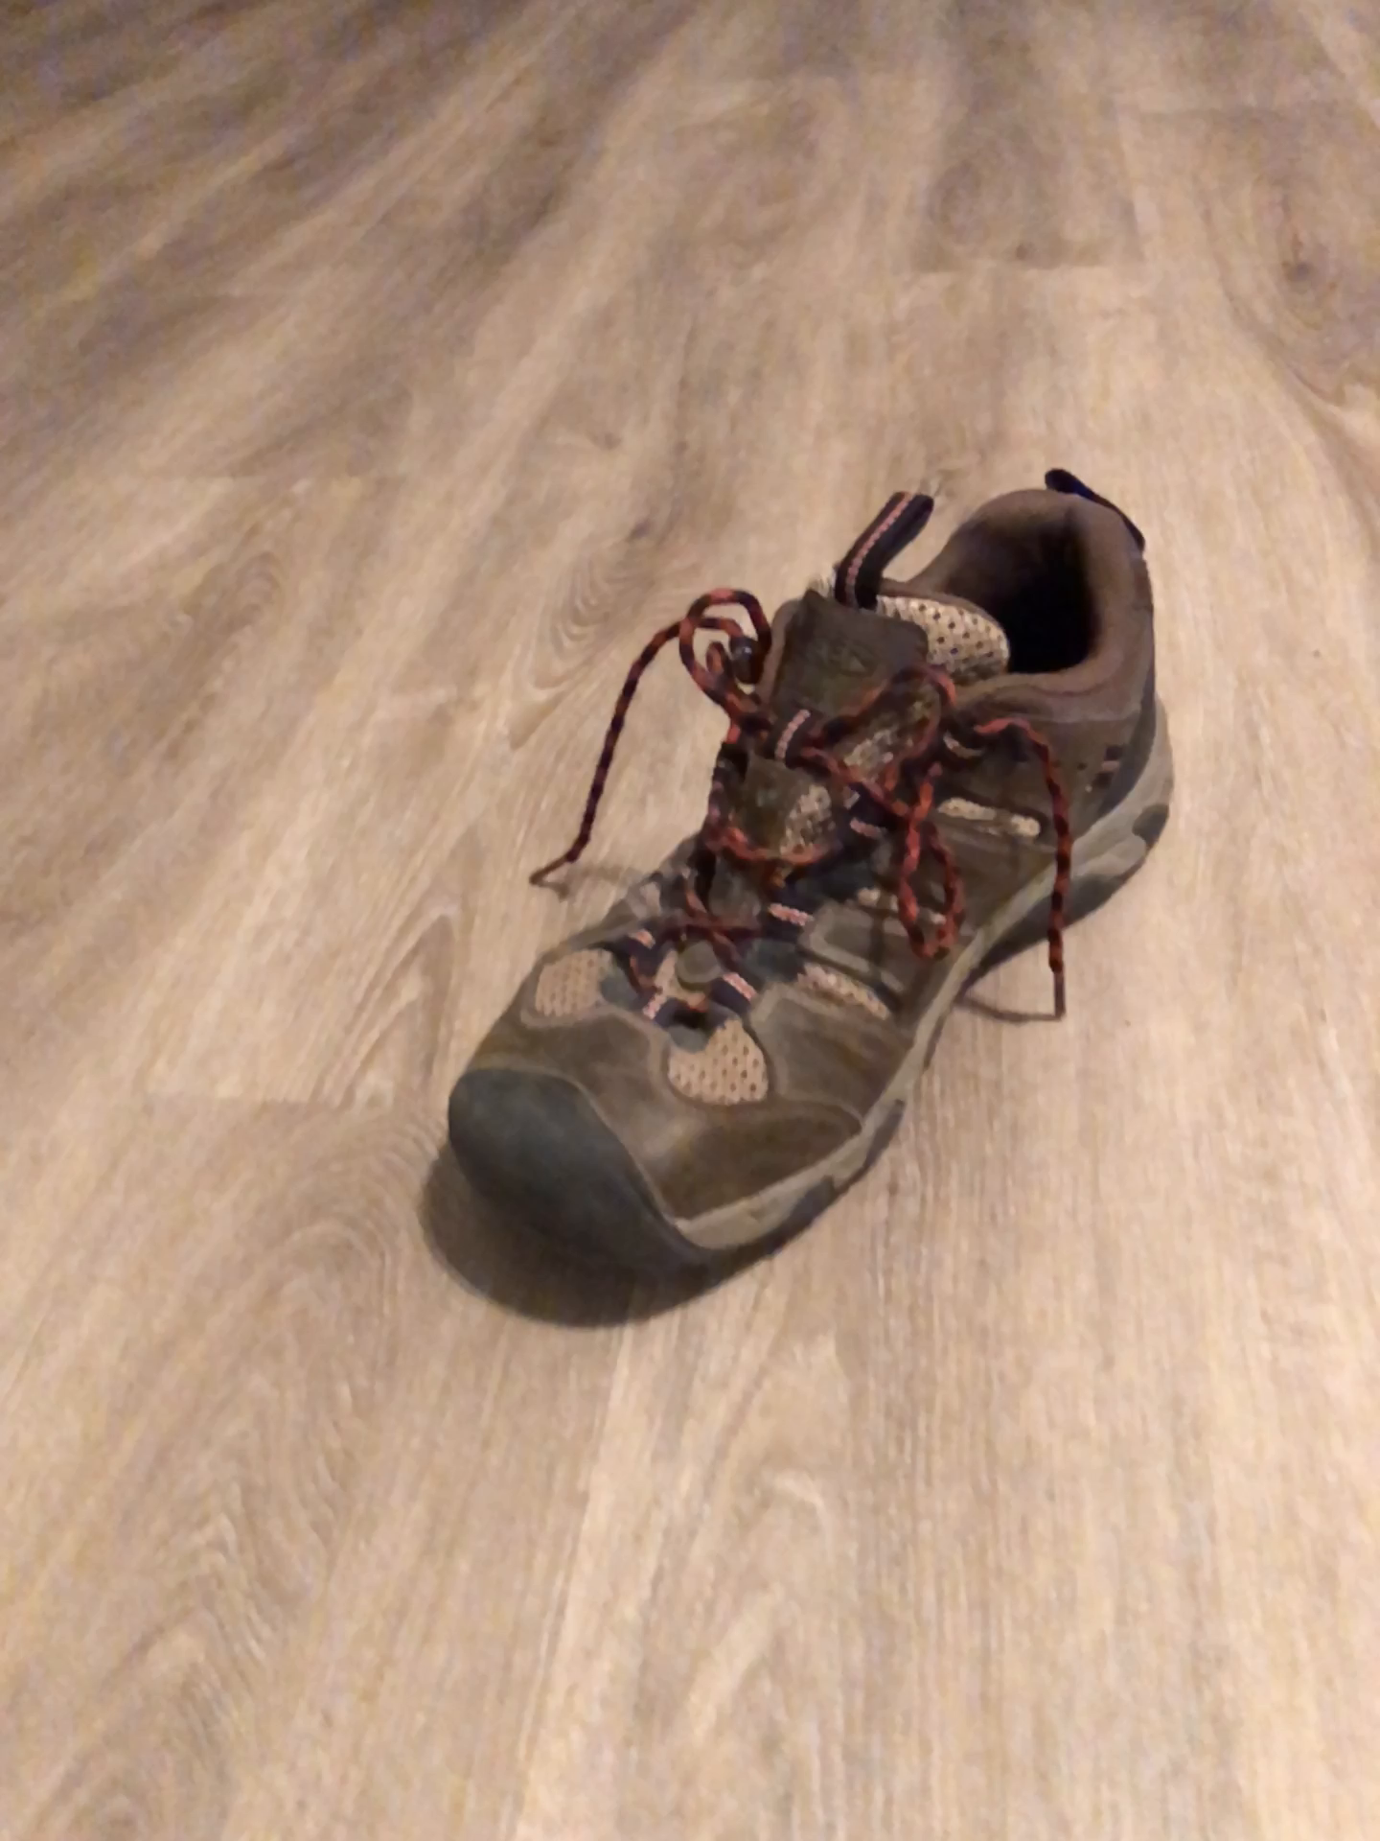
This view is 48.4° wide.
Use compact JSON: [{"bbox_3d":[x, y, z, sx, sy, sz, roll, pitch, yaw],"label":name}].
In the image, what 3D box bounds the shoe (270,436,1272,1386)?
[{"bbox_3d":[0.039,-0.025,0.419,0.110,0.100,0.271,26,49,32],"label":"shoe"}]
